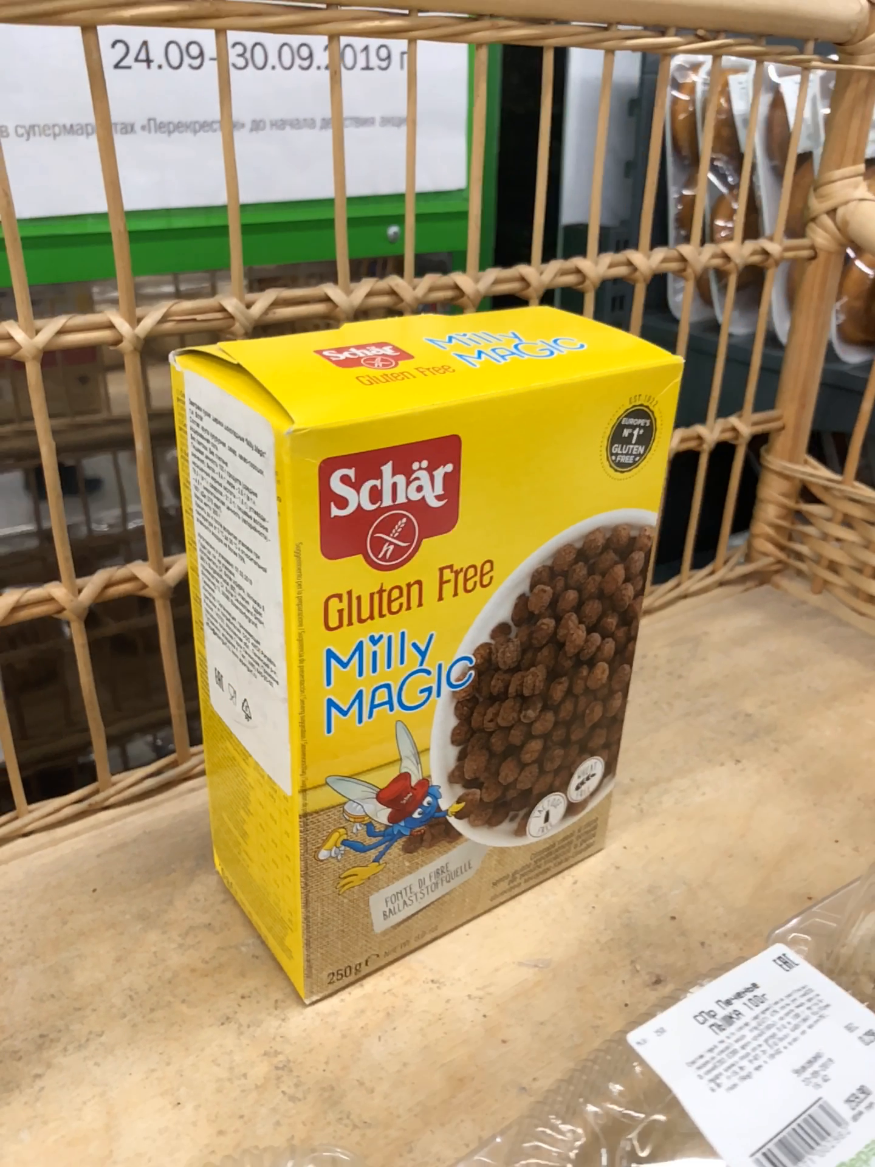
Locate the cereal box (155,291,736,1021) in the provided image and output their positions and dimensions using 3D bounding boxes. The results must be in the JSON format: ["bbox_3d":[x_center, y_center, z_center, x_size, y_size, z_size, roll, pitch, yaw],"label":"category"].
[{"bbox_3d":[0.002,0.018,0.346,0.160,0.209,0.080,-16,34,-31],"label":"cereal box"}]
